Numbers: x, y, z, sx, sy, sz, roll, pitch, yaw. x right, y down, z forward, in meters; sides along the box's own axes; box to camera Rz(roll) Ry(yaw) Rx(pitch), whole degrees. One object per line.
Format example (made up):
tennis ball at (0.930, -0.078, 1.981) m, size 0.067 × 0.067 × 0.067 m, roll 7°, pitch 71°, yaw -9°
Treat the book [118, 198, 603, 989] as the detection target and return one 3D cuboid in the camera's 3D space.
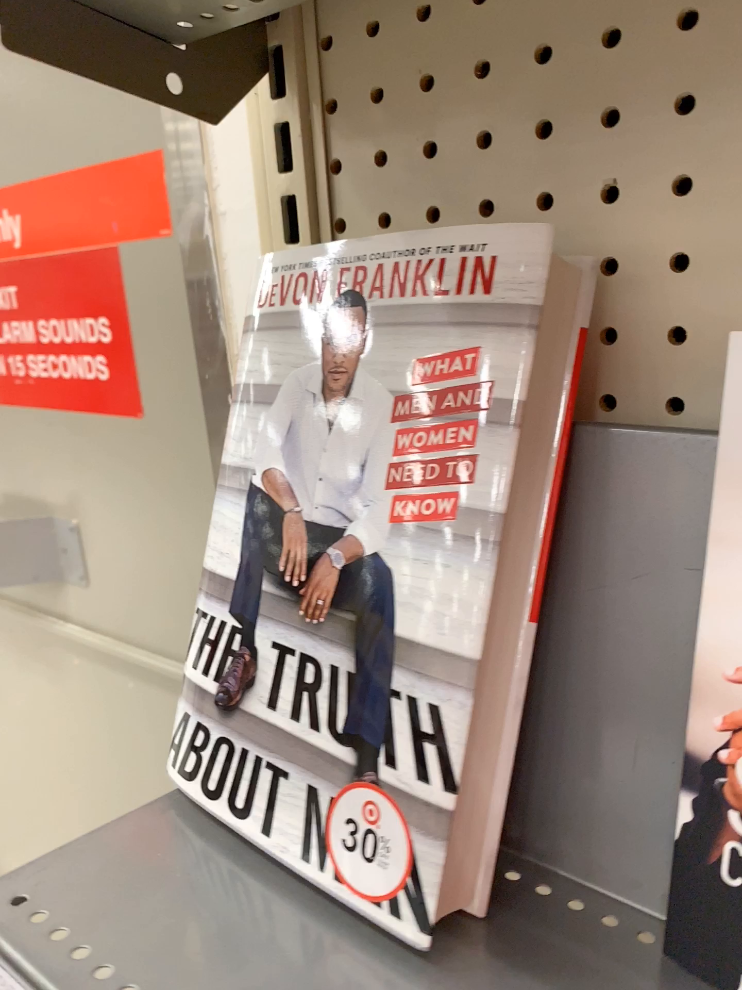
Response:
book at (-0.015, 0.021, 0.294) m, size 0.160 × 0.236 × 0.040 m, roll 10°, pitch -1°, yaw 41°
